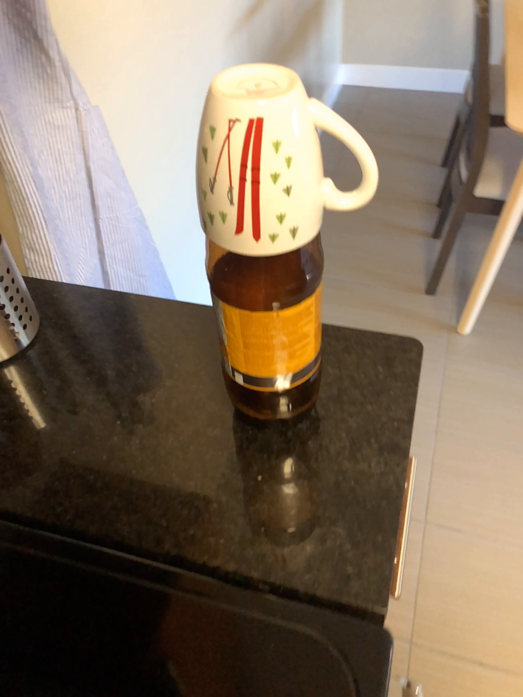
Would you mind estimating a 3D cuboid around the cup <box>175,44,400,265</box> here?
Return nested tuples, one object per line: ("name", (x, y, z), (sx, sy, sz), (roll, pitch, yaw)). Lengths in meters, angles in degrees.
("cup", (0.015, -0.146, 0.434), (0.140, 0.110, 0.100), (-8, 44, -2))
